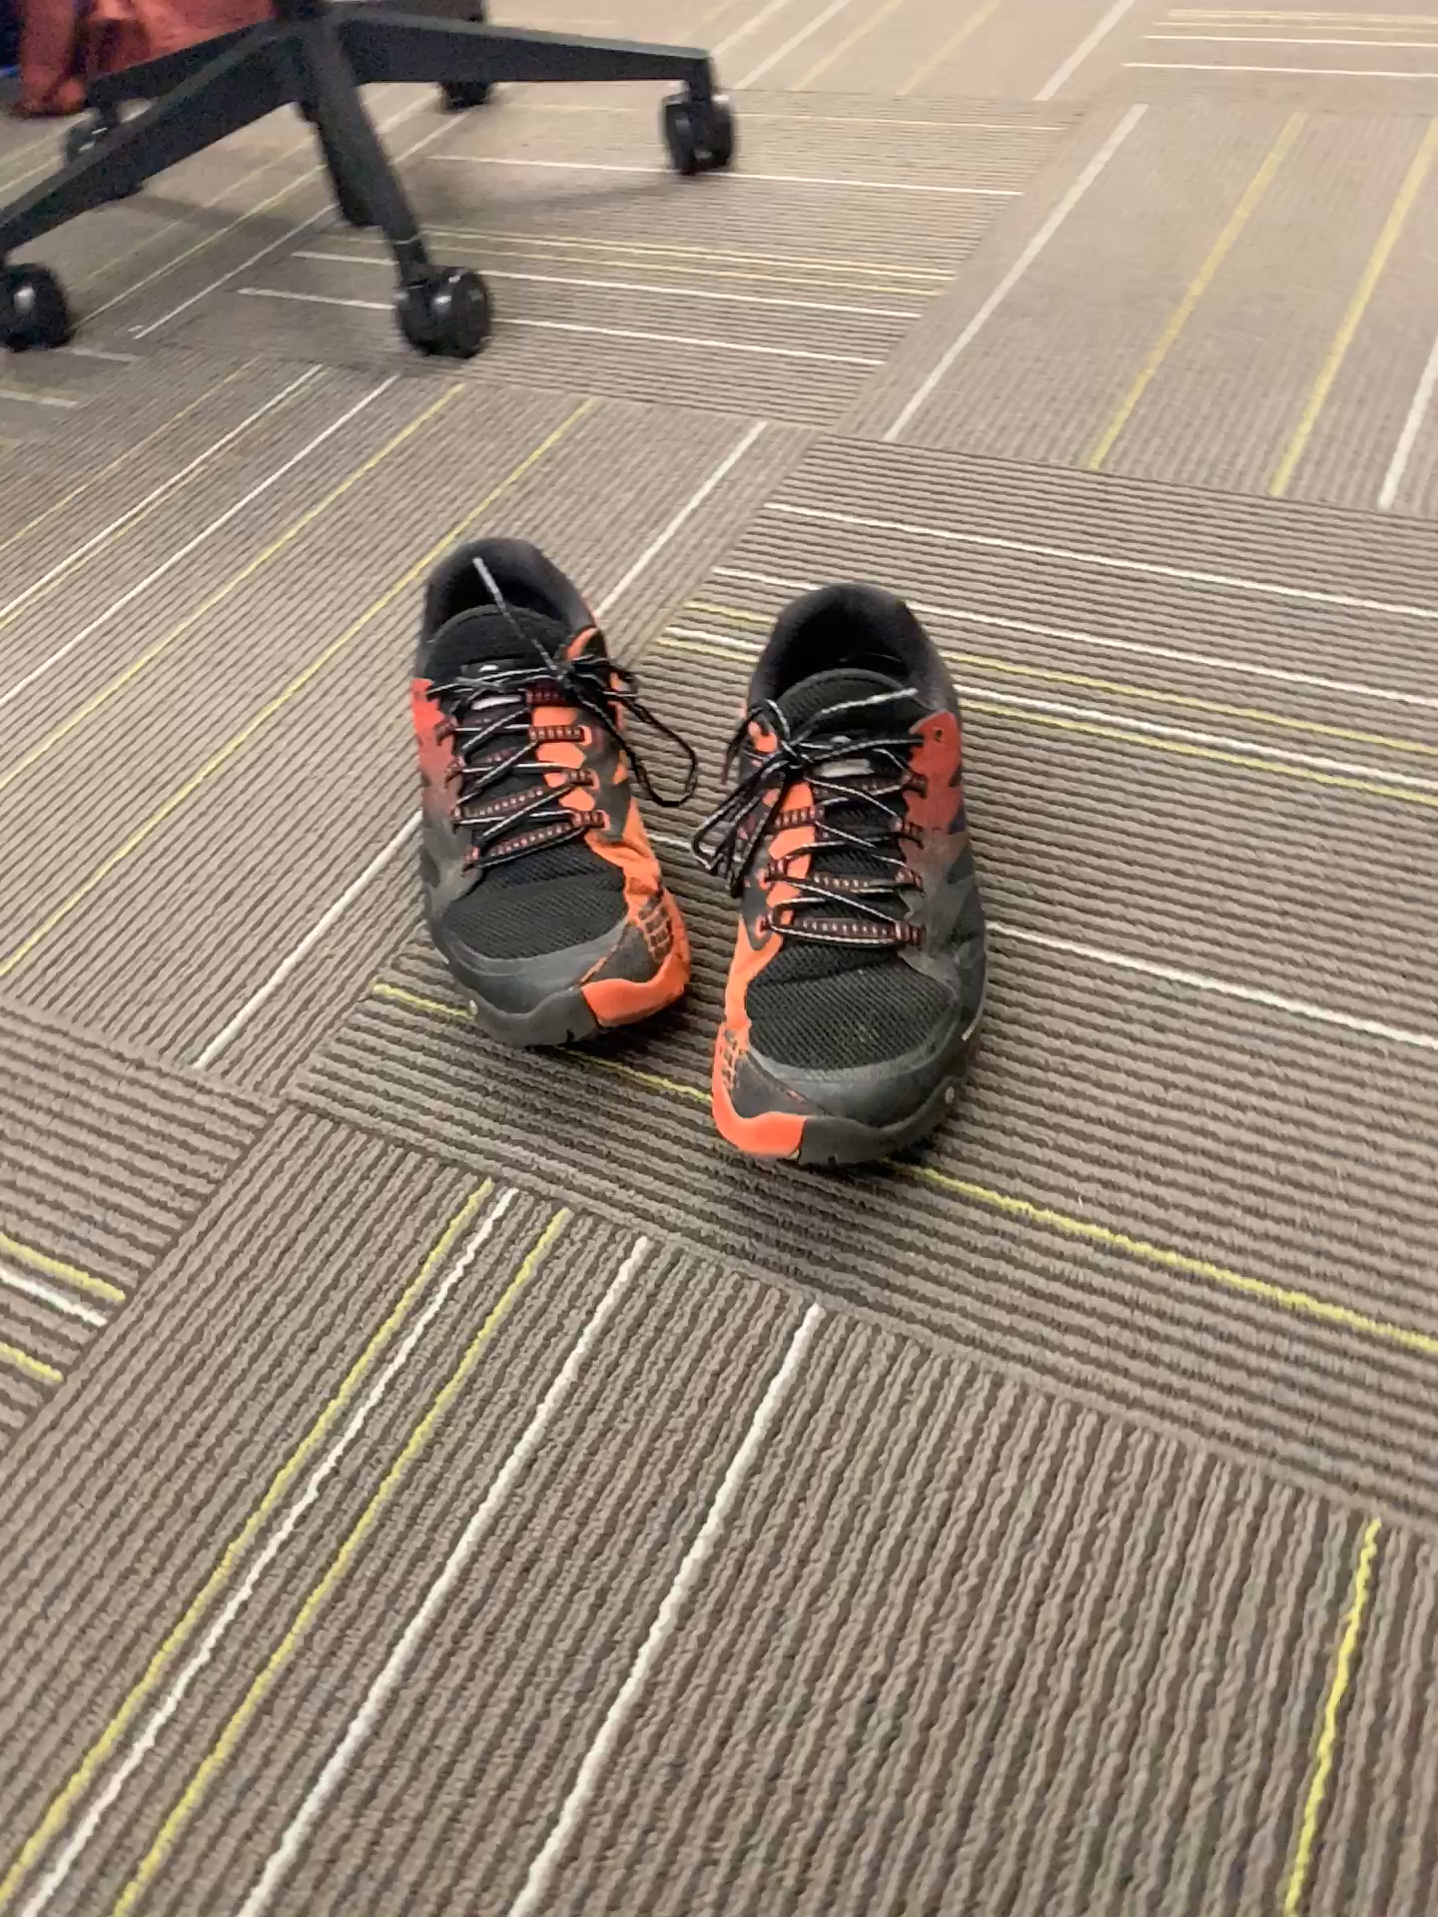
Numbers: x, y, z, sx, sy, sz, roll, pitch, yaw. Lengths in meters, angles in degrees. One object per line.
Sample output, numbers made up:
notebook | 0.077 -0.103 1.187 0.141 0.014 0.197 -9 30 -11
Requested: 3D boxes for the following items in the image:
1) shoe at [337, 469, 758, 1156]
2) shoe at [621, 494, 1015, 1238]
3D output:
shoe | -0.089 -0.084 0.694 0.130 0.129 0.312 -14 47 -4
shoe | 0.055 -0.054 0.637 0.130 0.129 0.321 0 48 9
